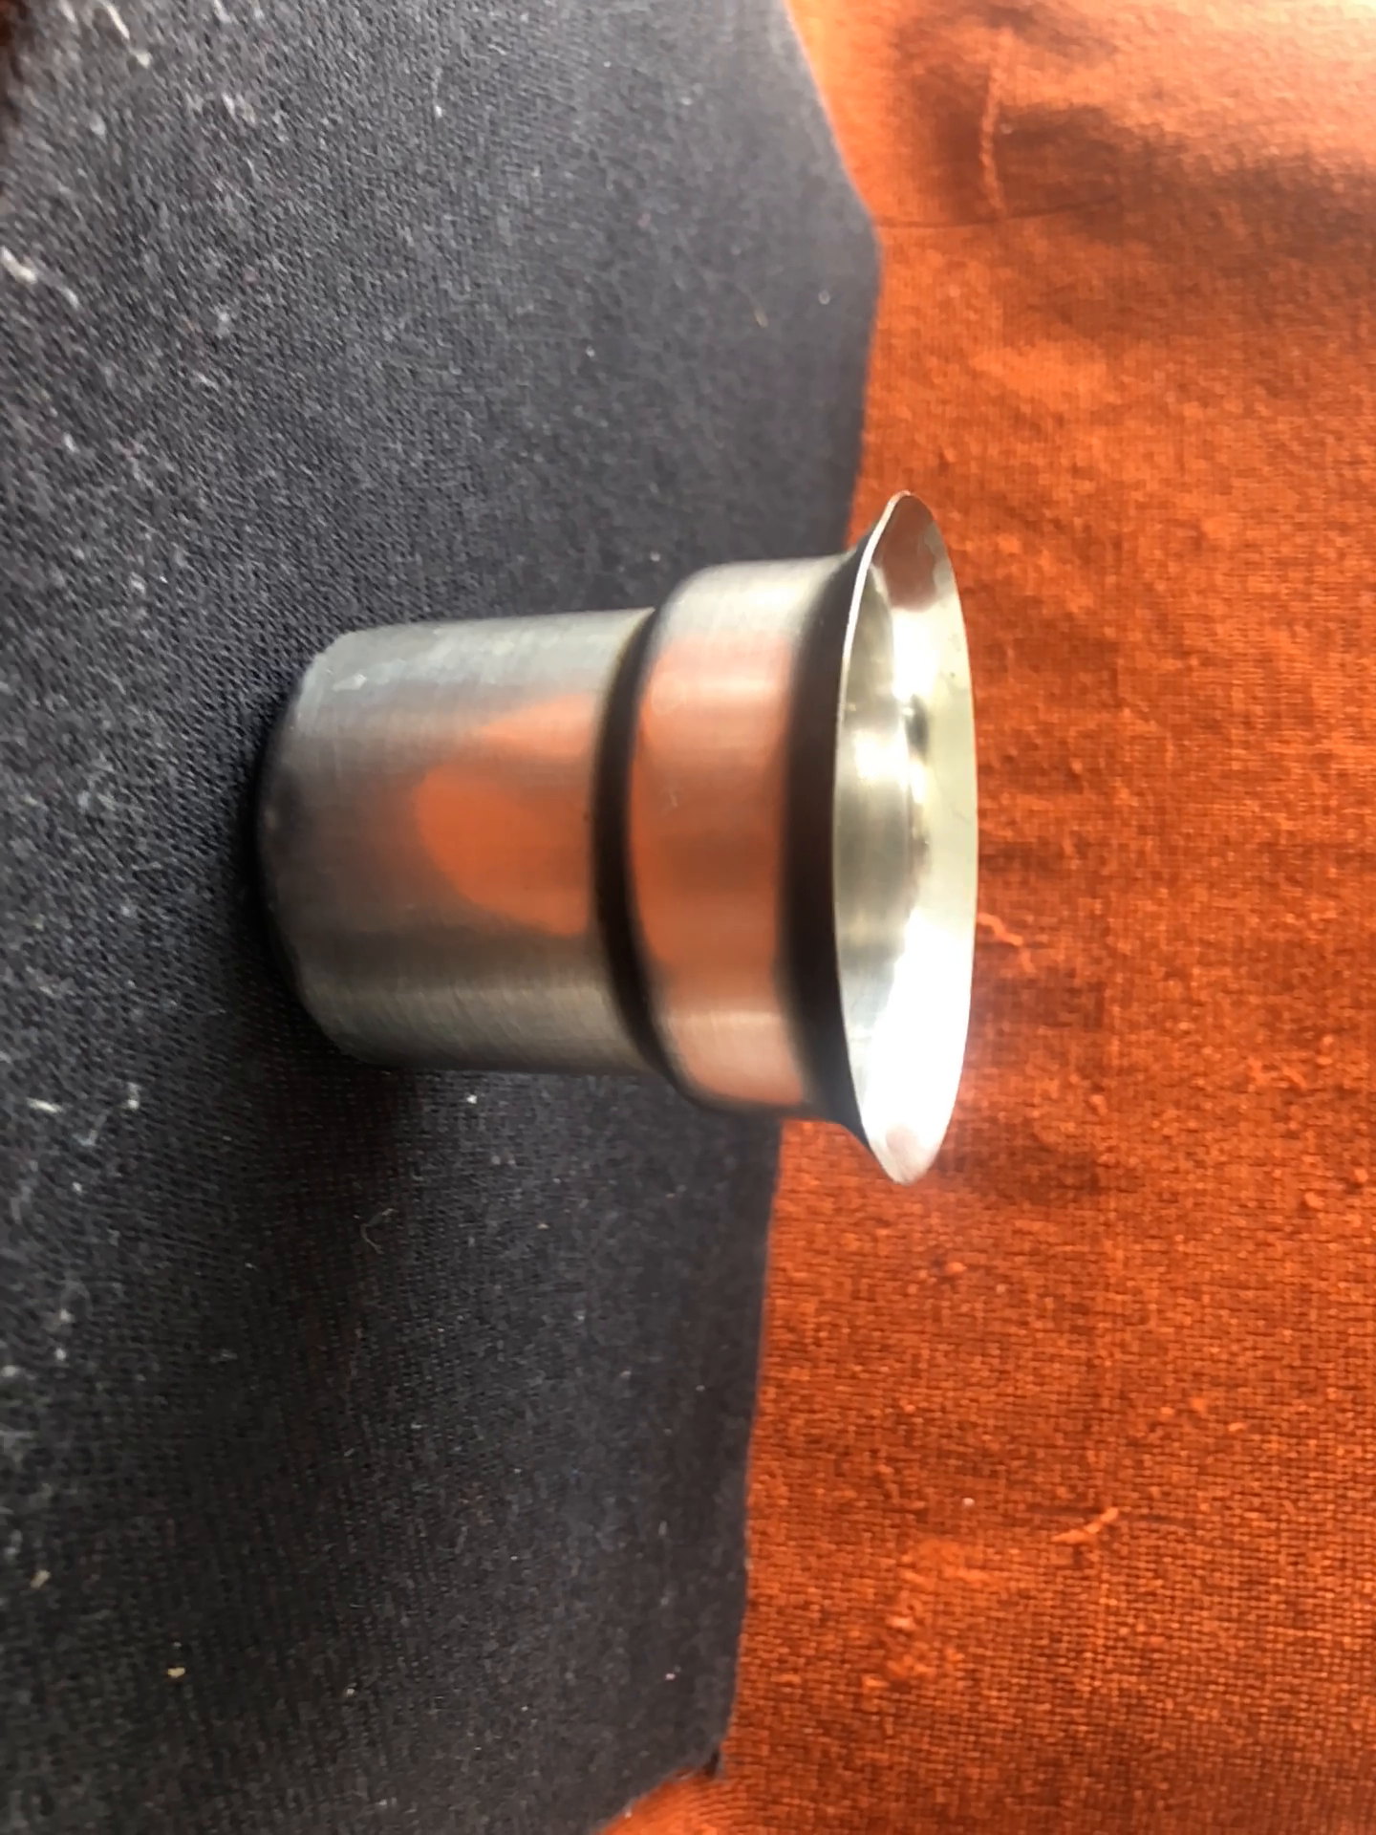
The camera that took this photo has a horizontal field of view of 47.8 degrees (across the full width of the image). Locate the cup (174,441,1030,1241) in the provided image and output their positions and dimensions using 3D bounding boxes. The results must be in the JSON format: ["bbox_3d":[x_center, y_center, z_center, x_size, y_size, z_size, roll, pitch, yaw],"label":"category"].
[{"bbox_3d":[-0.002,-0.003,0.179,0.070,0.070,0.070,2,90,-71],"label":"cup"}]
